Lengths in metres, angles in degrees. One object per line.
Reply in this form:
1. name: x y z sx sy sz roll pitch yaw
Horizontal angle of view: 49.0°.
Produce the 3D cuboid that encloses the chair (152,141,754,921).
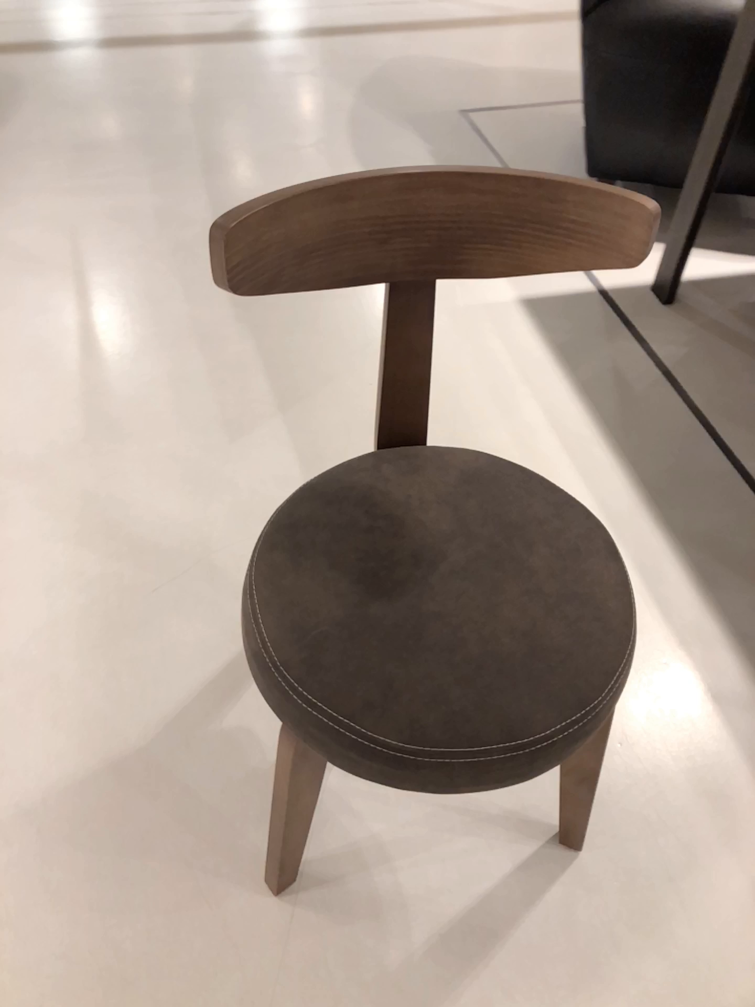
1. chair: 0.049 0.061 0.935 0.470 0.705 0.493 -6 48 -8
